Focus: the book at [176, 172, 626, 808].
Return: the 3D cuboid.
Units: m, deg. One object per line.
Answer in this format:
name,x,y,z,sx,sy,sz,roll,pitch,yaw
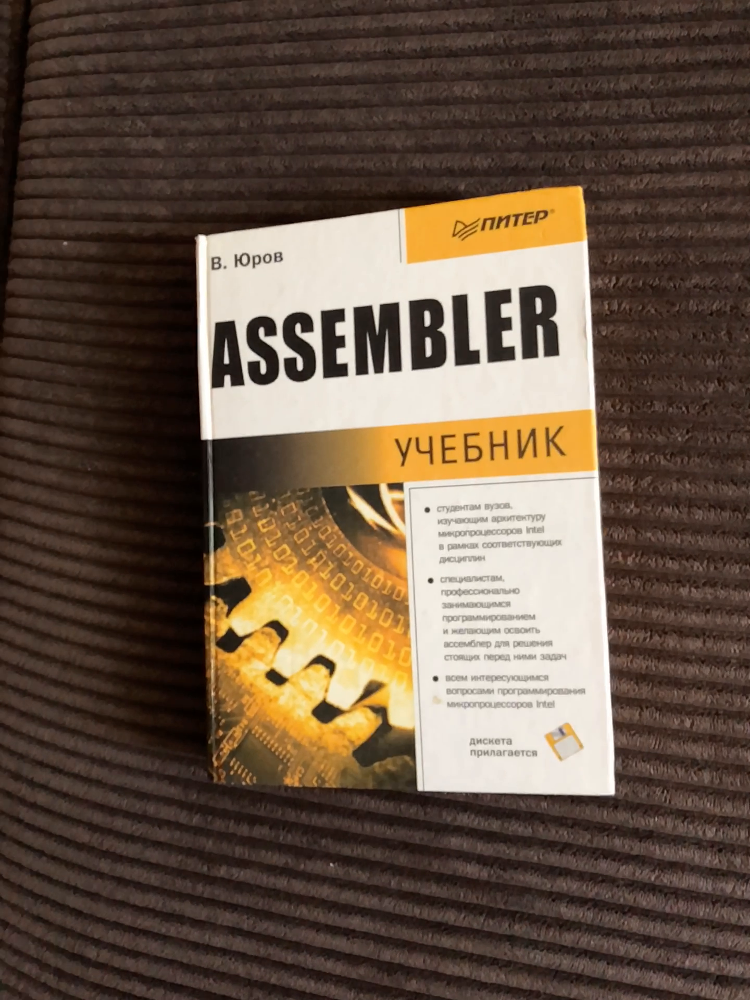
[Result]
book,0.009,-0.001,0.354,0.170,0.058,0.236,-3,85,12
